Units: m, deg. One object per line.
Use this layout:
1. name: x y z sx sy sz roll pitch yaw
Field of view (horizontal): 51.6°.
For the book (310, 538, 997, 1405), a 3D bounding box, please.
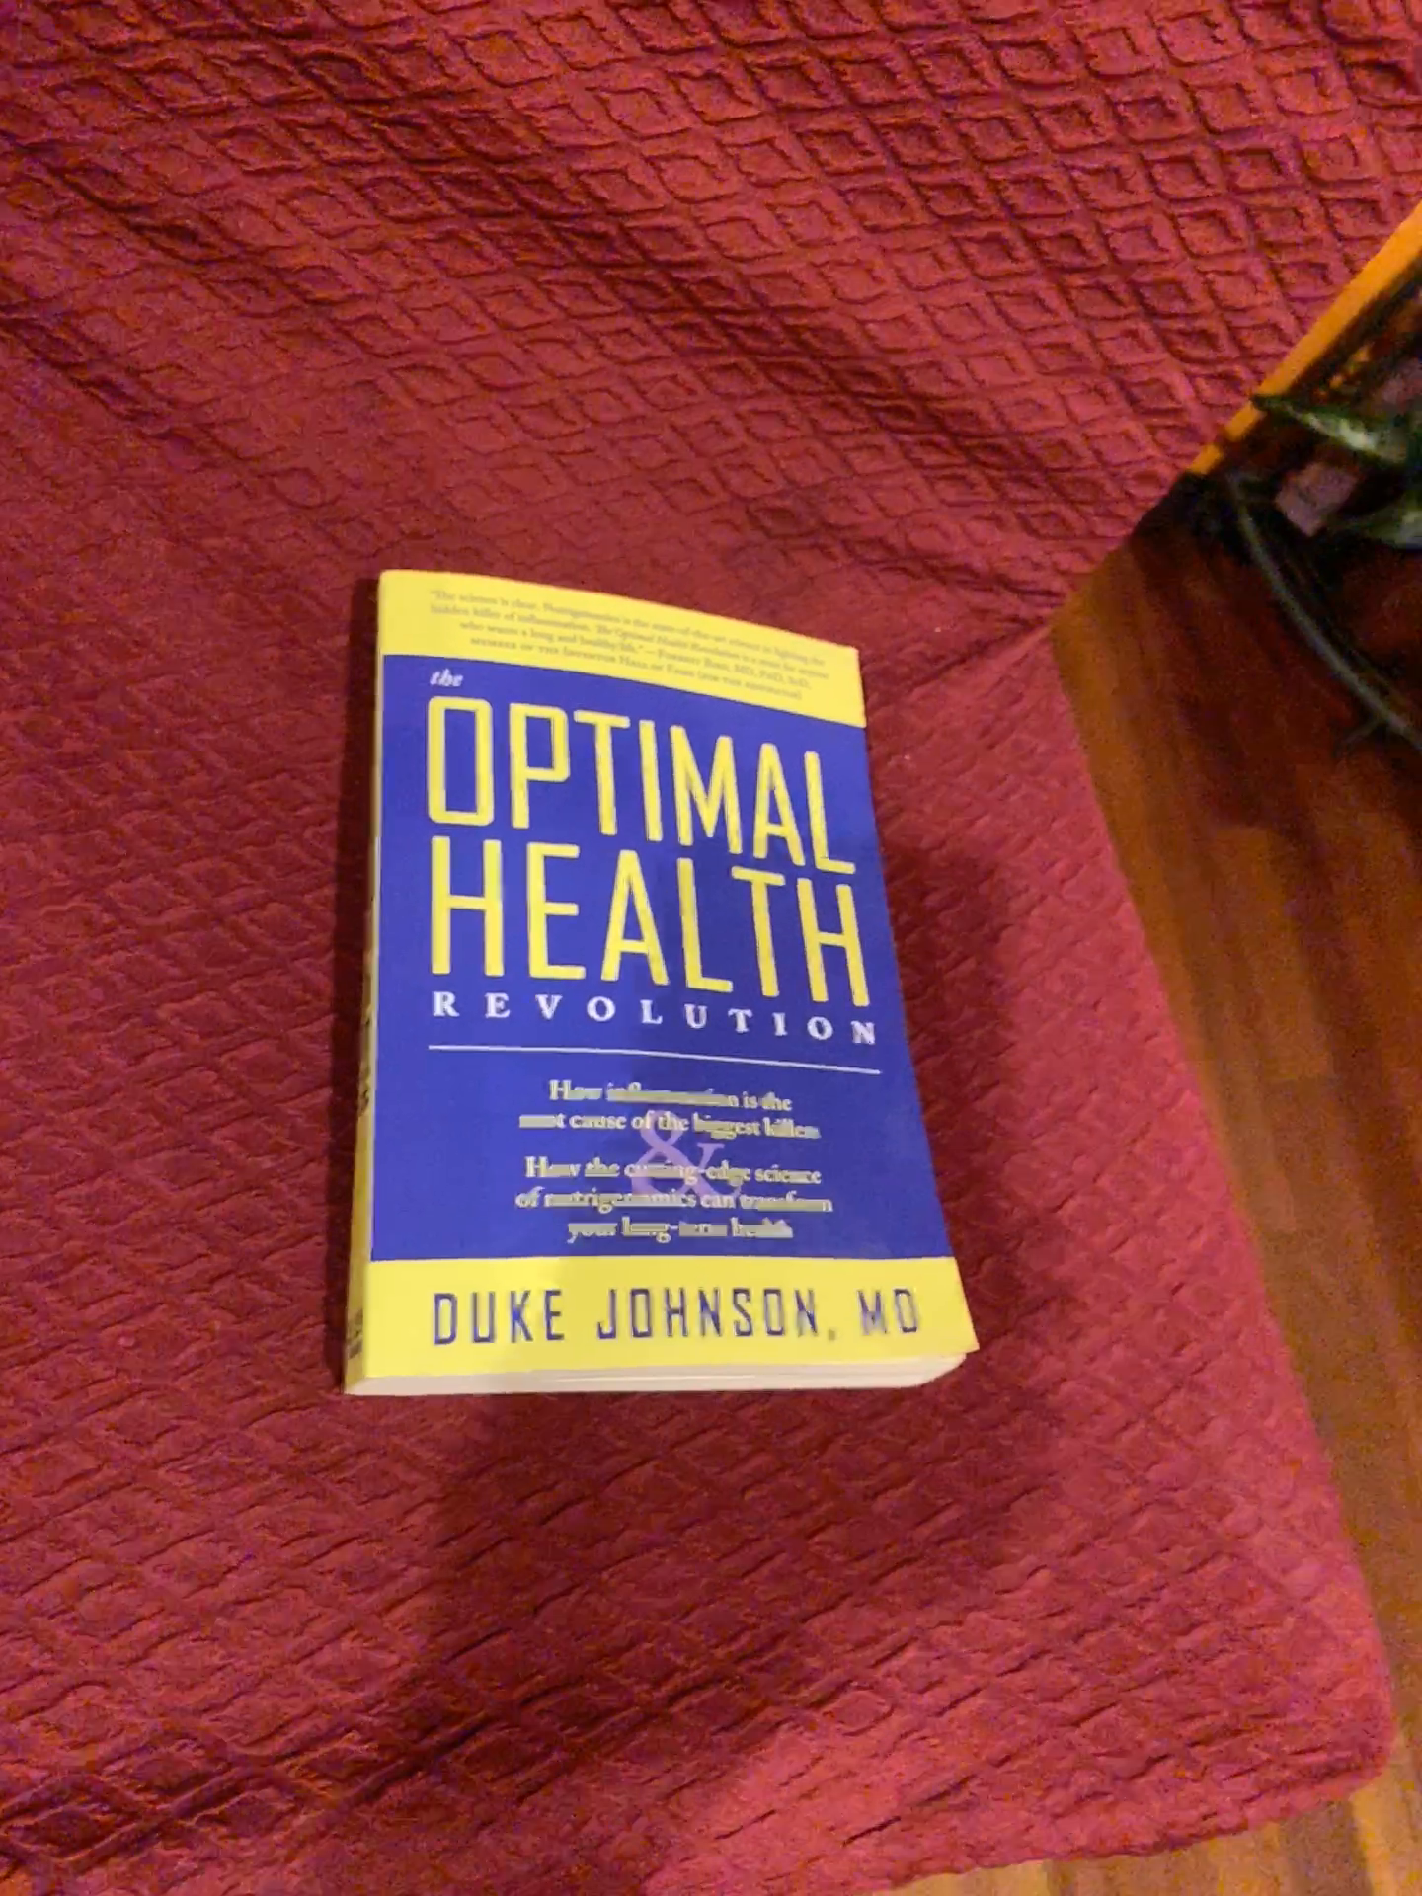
1. book: -0.020 0.008 0.413 0.161 0.060 0.222 6 64 -21
